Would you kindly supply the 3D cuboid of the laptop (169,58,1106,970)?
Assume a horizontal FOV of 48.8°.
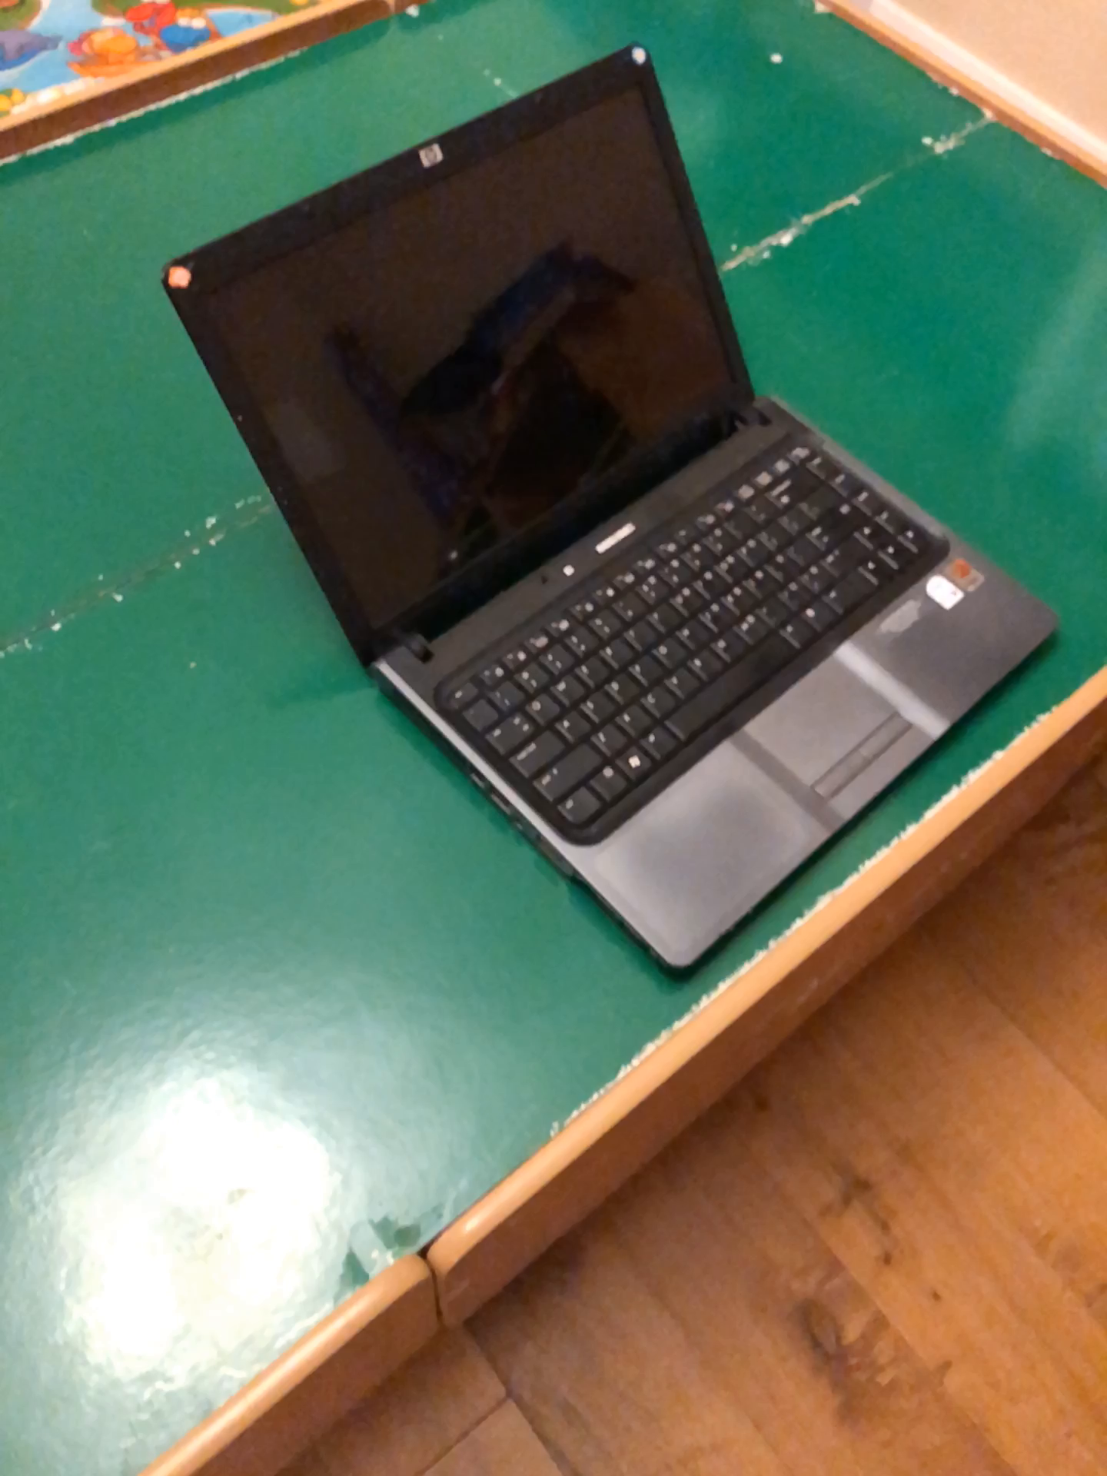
[{"bbox_3d":[0.055,-0.141,0.655,0.323,0.172,0.374,-37,67,-23],"label":"laptop"}]
